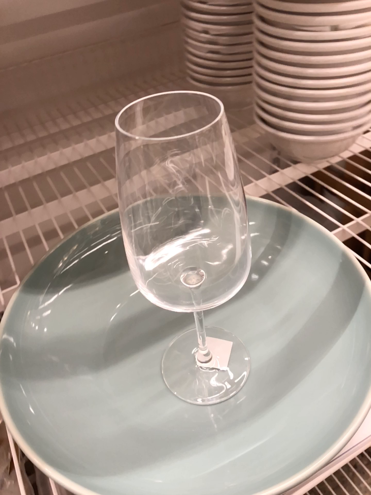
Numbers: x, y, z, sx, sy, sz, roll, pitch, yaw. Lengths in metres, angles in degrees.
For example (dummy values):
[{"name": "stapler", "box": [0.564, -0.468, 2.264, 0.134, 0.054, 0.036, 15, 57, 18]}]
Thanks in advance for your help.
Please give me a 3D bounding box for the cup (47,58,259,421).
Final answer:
[{"name": "cup", "box": [0.000, 0.018, 0.327, 0.100, 0.279, 0.100, -6, 40, 5]}]
